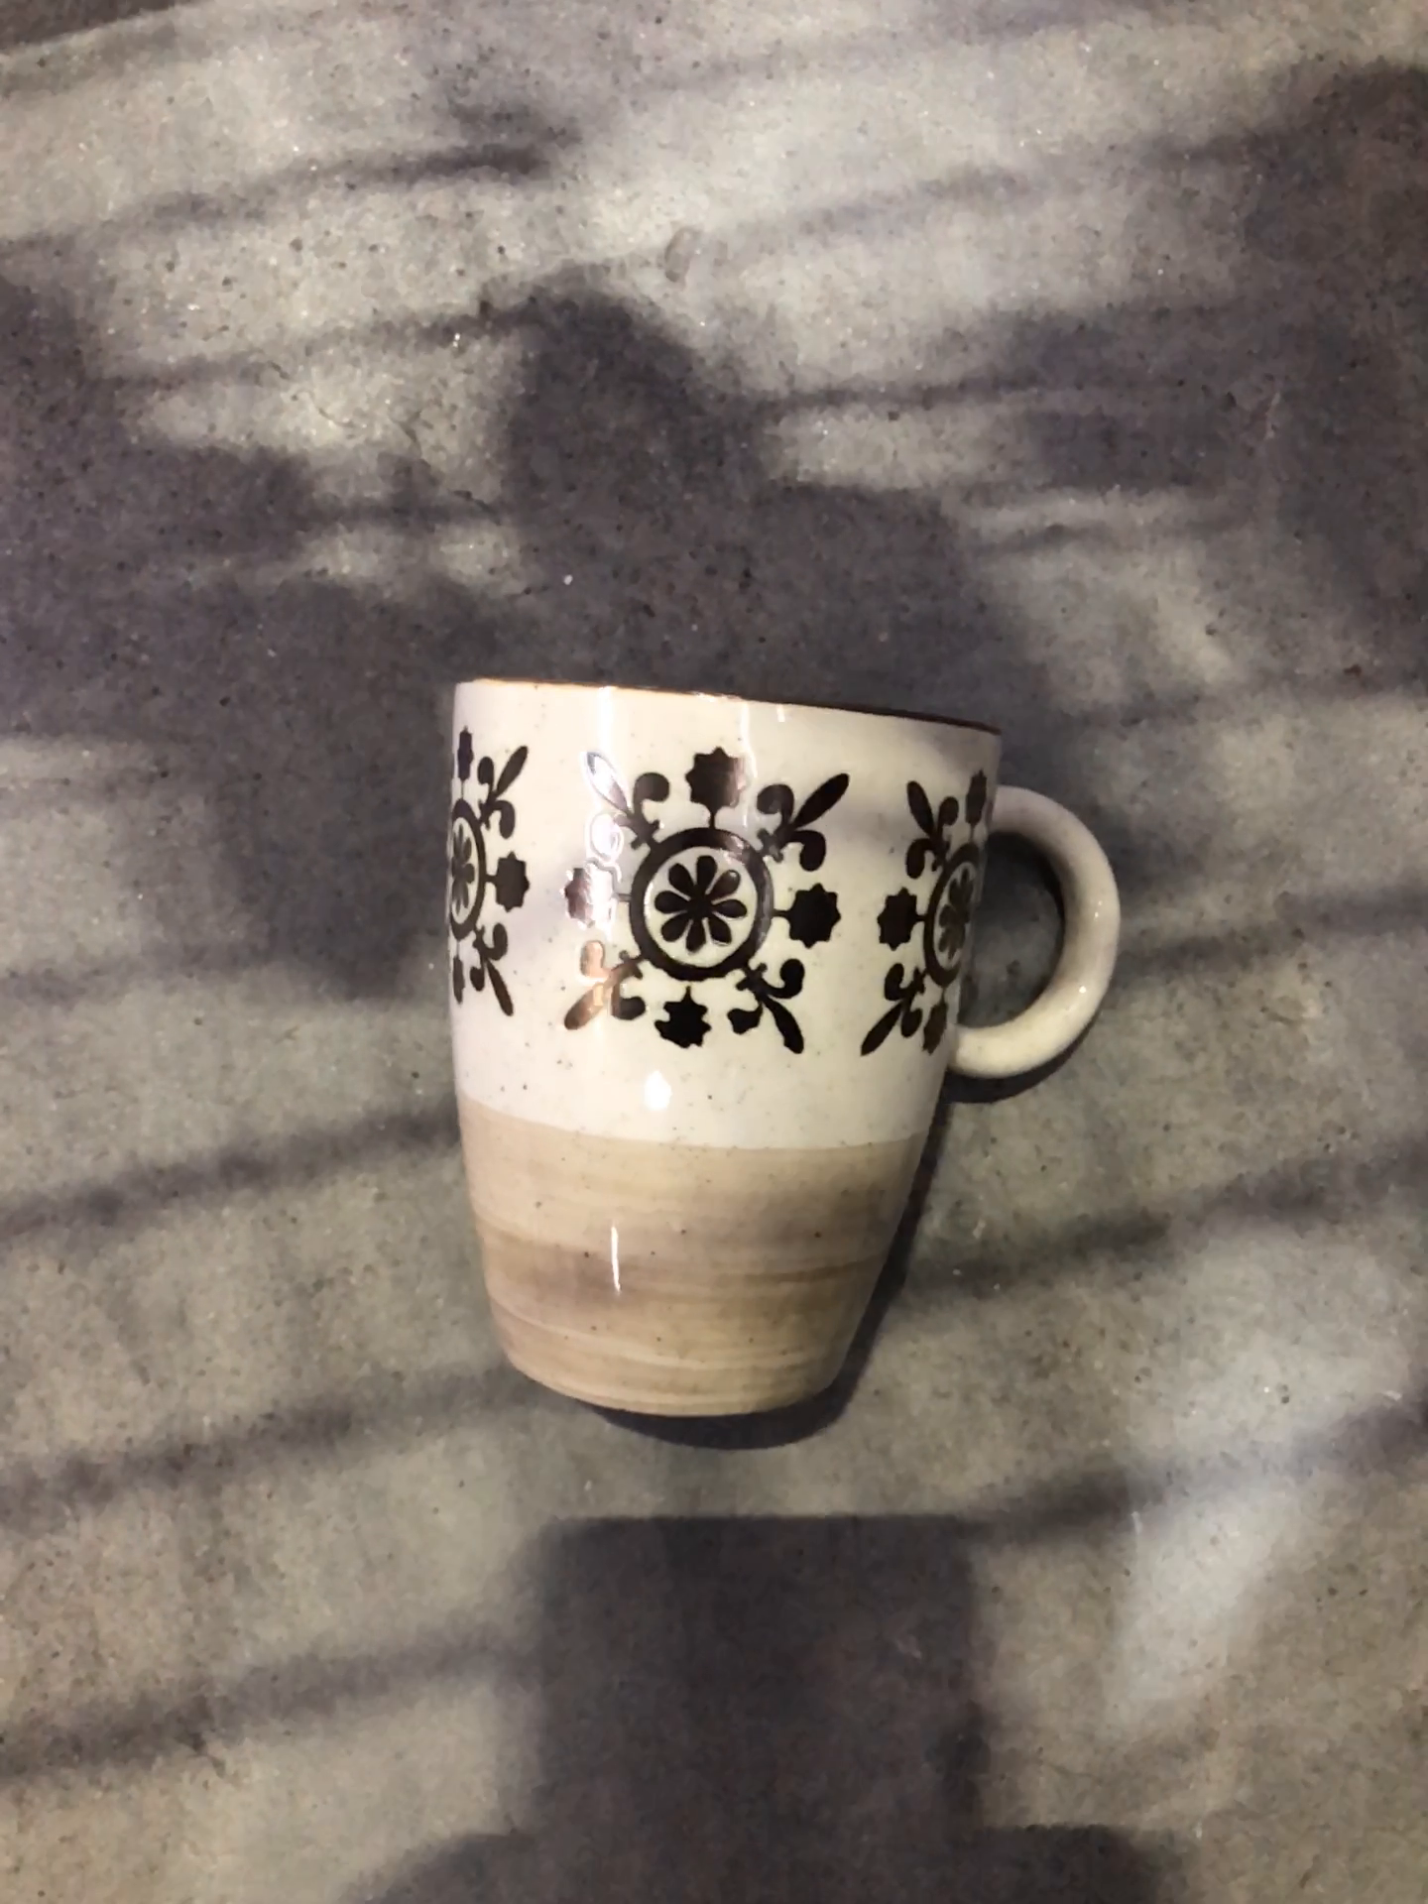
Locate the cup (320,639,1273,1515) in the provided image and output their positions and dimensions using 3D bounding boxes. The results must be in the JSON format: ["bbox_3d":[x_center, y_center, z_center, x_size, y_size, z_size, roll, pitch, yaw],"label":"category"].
[{"bbox_3d":[0.005,0.011,0.212,0.100,0.070,0.090,2,96,-21],"label":"cup"}]
